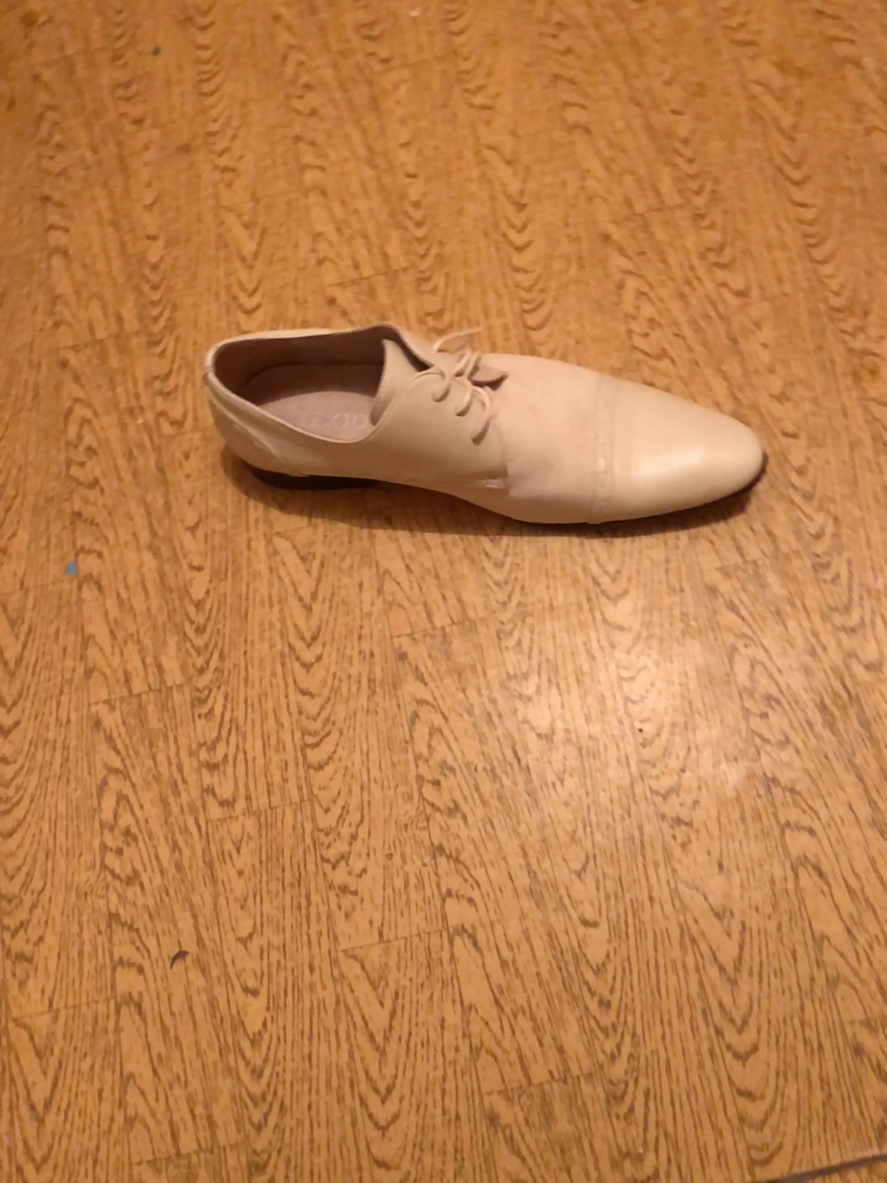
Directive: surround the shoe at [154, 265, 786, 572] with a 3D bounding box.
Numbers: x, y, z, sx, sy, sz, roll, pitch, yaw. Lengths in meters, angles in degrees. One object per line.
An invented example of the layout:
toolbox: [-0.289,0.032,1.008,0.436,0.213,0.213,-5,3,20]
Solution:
shoe: [0.016,-0.094,0.545,0.310,0.100,0.100,8,74,8]
